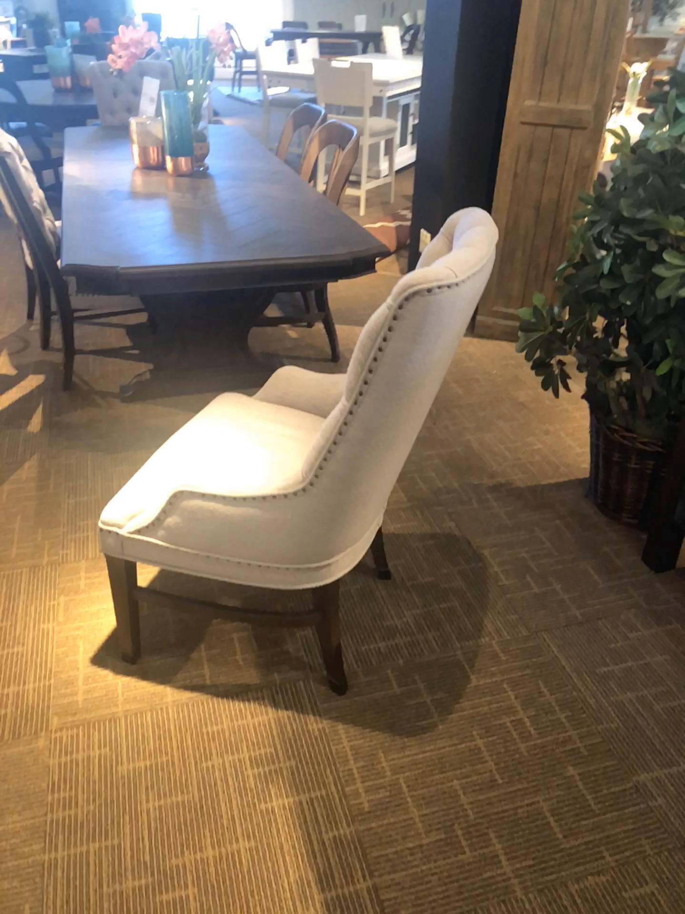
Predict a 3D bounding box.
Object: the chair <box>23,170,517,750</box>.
[{"bbox_3d":[-0.100,-0.034,1.719,0.760,1.015,0.643,12,33,16],"label":"chair"}]
